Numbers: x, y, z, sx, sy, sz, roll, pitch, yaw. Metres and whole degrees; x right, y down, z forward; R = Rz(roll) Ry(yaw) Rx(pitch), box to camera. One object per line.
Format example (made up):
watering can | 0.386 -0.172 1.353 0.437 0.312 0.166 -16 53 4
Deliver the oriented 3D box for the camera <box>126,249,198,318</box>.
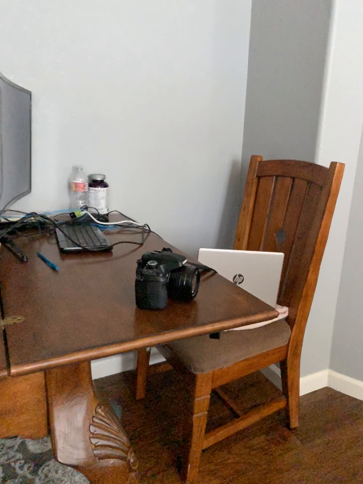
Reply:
camera | -0.038 0.081 0.792 0.110 0.090 0.131 7 17 16
